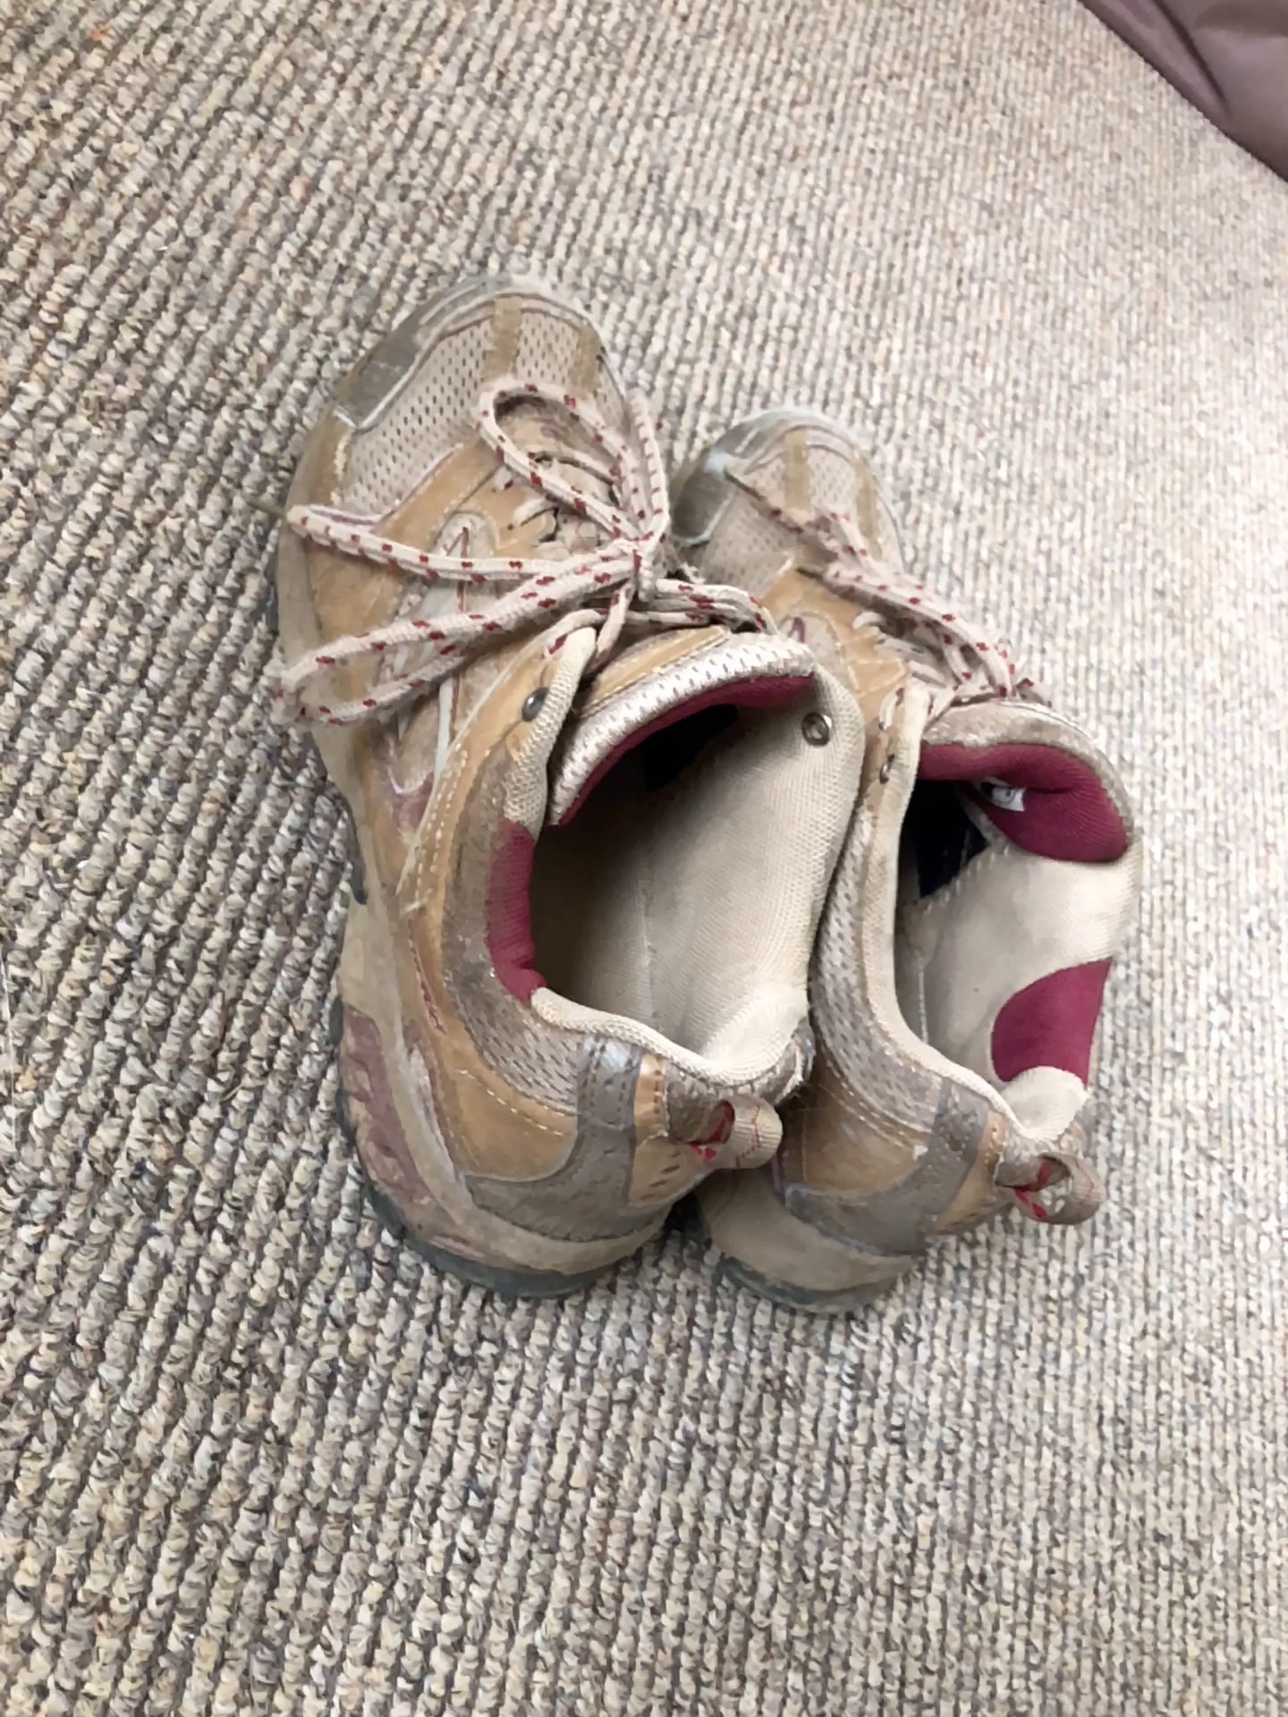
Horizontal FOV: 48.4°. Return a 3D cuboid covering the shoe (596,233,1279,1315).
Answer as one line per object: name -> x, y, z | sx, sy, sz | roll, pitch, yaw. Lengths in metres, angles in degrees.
shoe -> 0.068, -0.017, 0.418 | 0.112, 0.123, 0.272 | 14, 61, -32

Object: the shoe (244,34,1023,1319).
shoe -> -0.018, -0.038, 0.359 | 0.111, 0.118, 0.270 | 6, 66, -35
